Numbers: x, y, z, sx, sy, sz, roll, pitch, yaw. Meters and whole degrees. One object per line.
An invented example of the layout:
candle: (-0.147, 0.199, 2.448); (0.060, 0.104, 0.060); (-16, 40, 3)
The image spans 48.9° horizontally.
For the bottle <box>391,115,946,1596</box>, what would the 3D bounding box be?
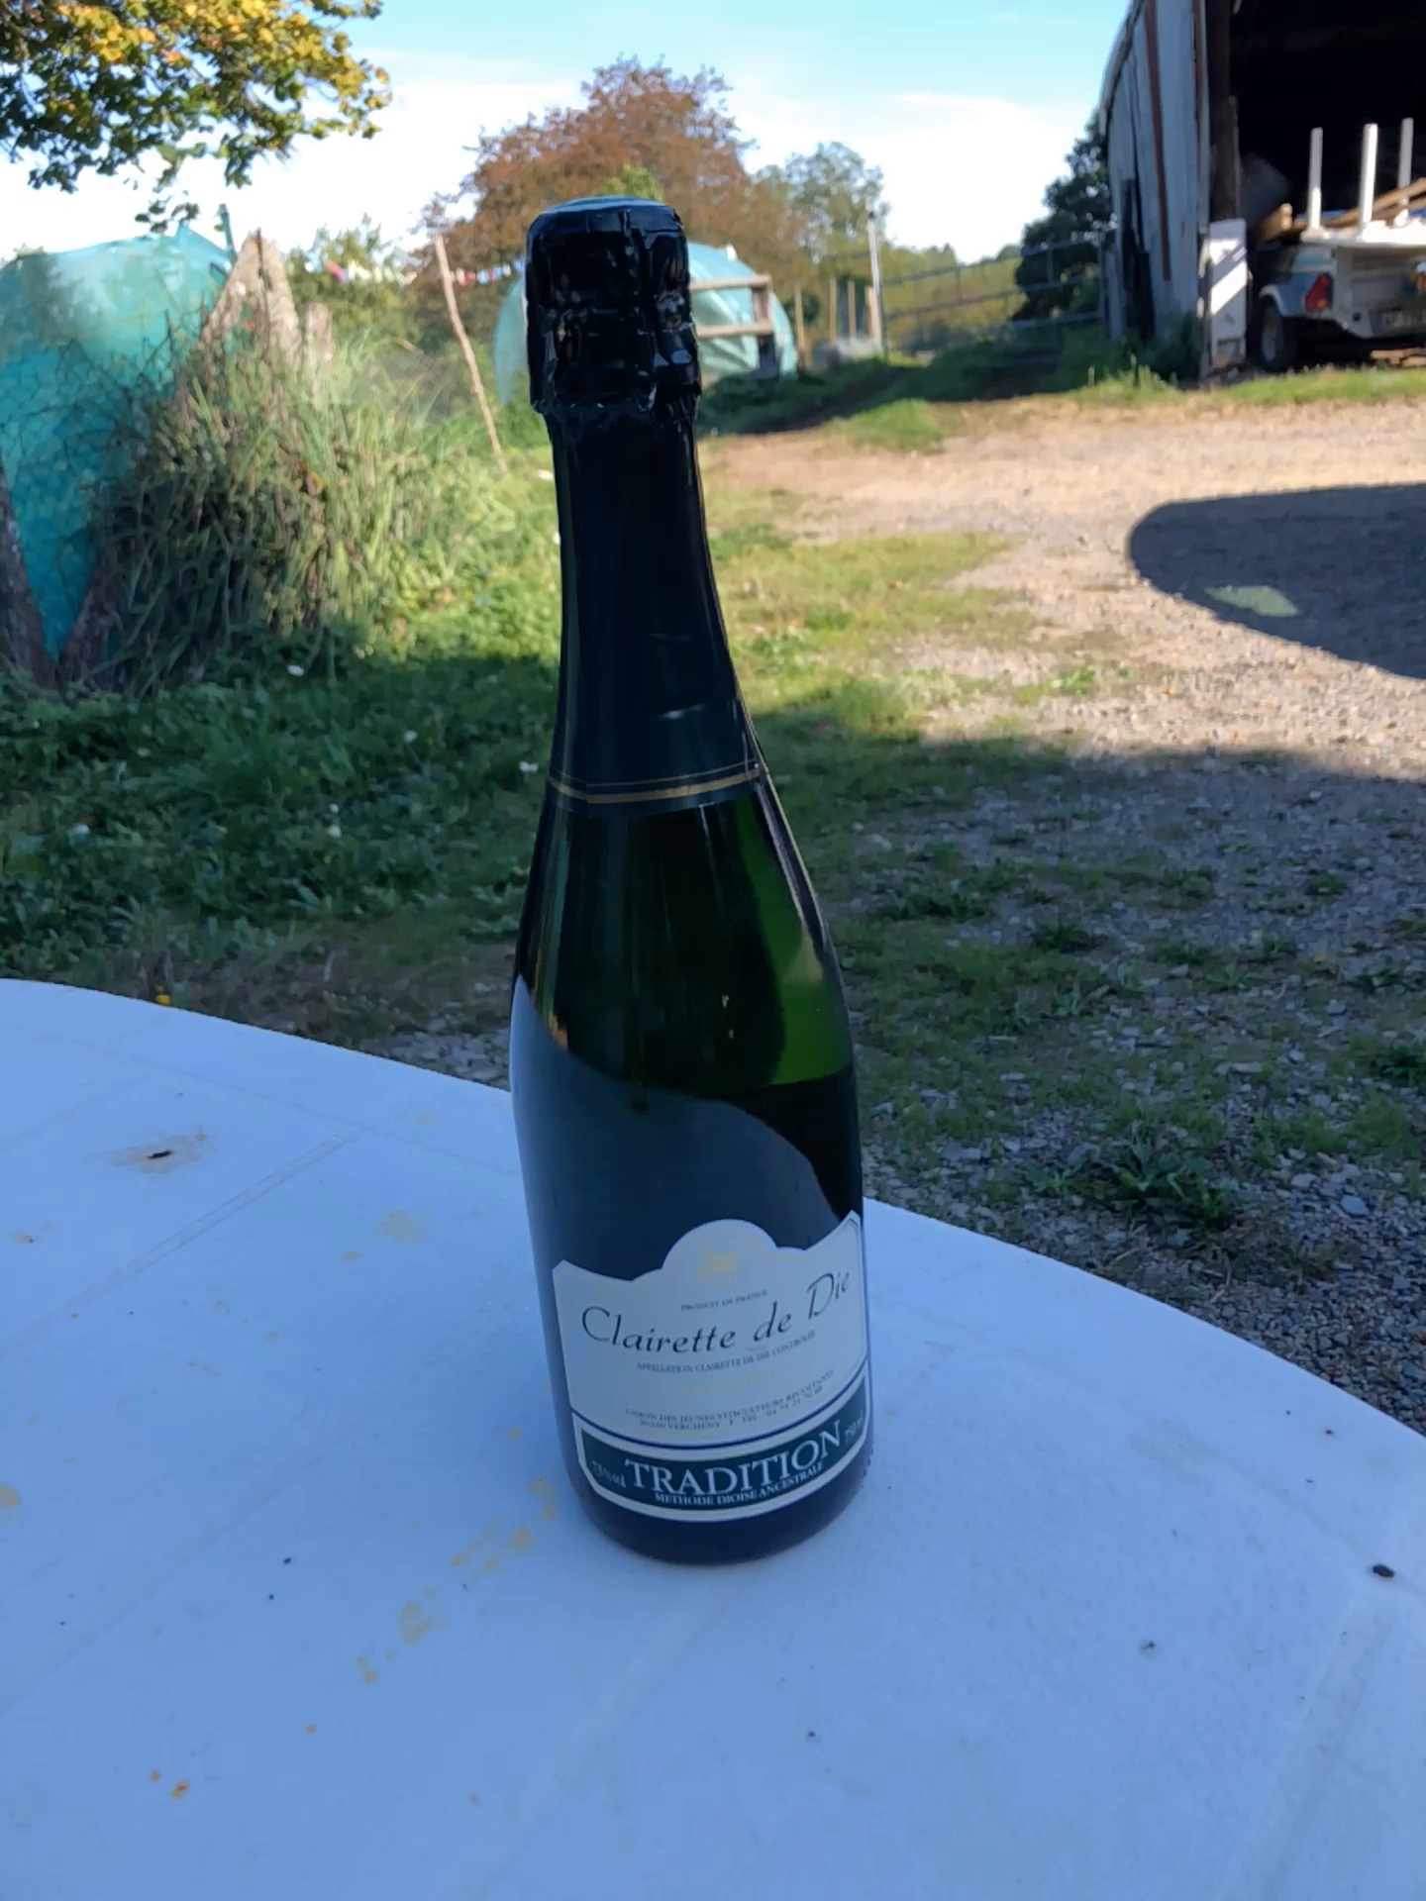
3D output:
bottle: (-0.005, -0.014, 0.369); (0.090, 0.309, 0.100); (-6, 20, -6)
